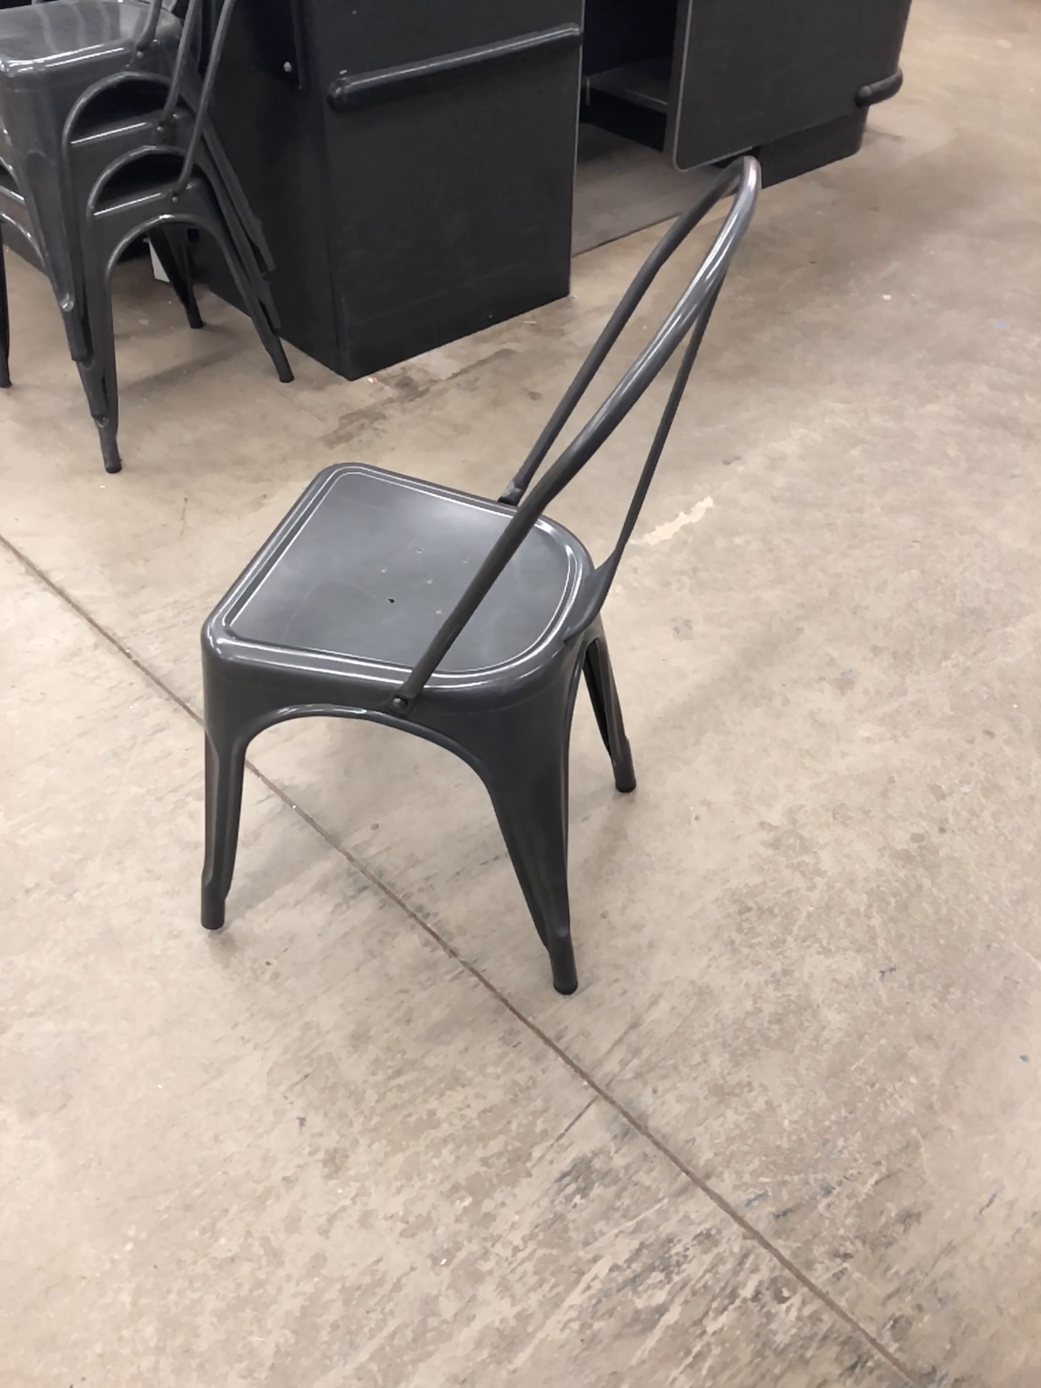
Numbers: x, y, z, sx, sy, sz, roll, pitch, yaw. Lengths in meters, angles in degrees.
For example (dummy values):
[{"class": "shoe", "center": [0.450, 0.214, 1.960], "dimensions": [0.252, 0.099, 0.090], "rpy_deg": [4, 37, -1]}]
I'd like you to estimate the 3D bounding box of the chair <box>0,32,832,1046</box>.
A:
[{"class": "chair", "center": [-0.037, -0.126, 1.153], "dimensions": [0.500, 0.817, 0.481], "rpy_deg": [11, 45, 11]}]
